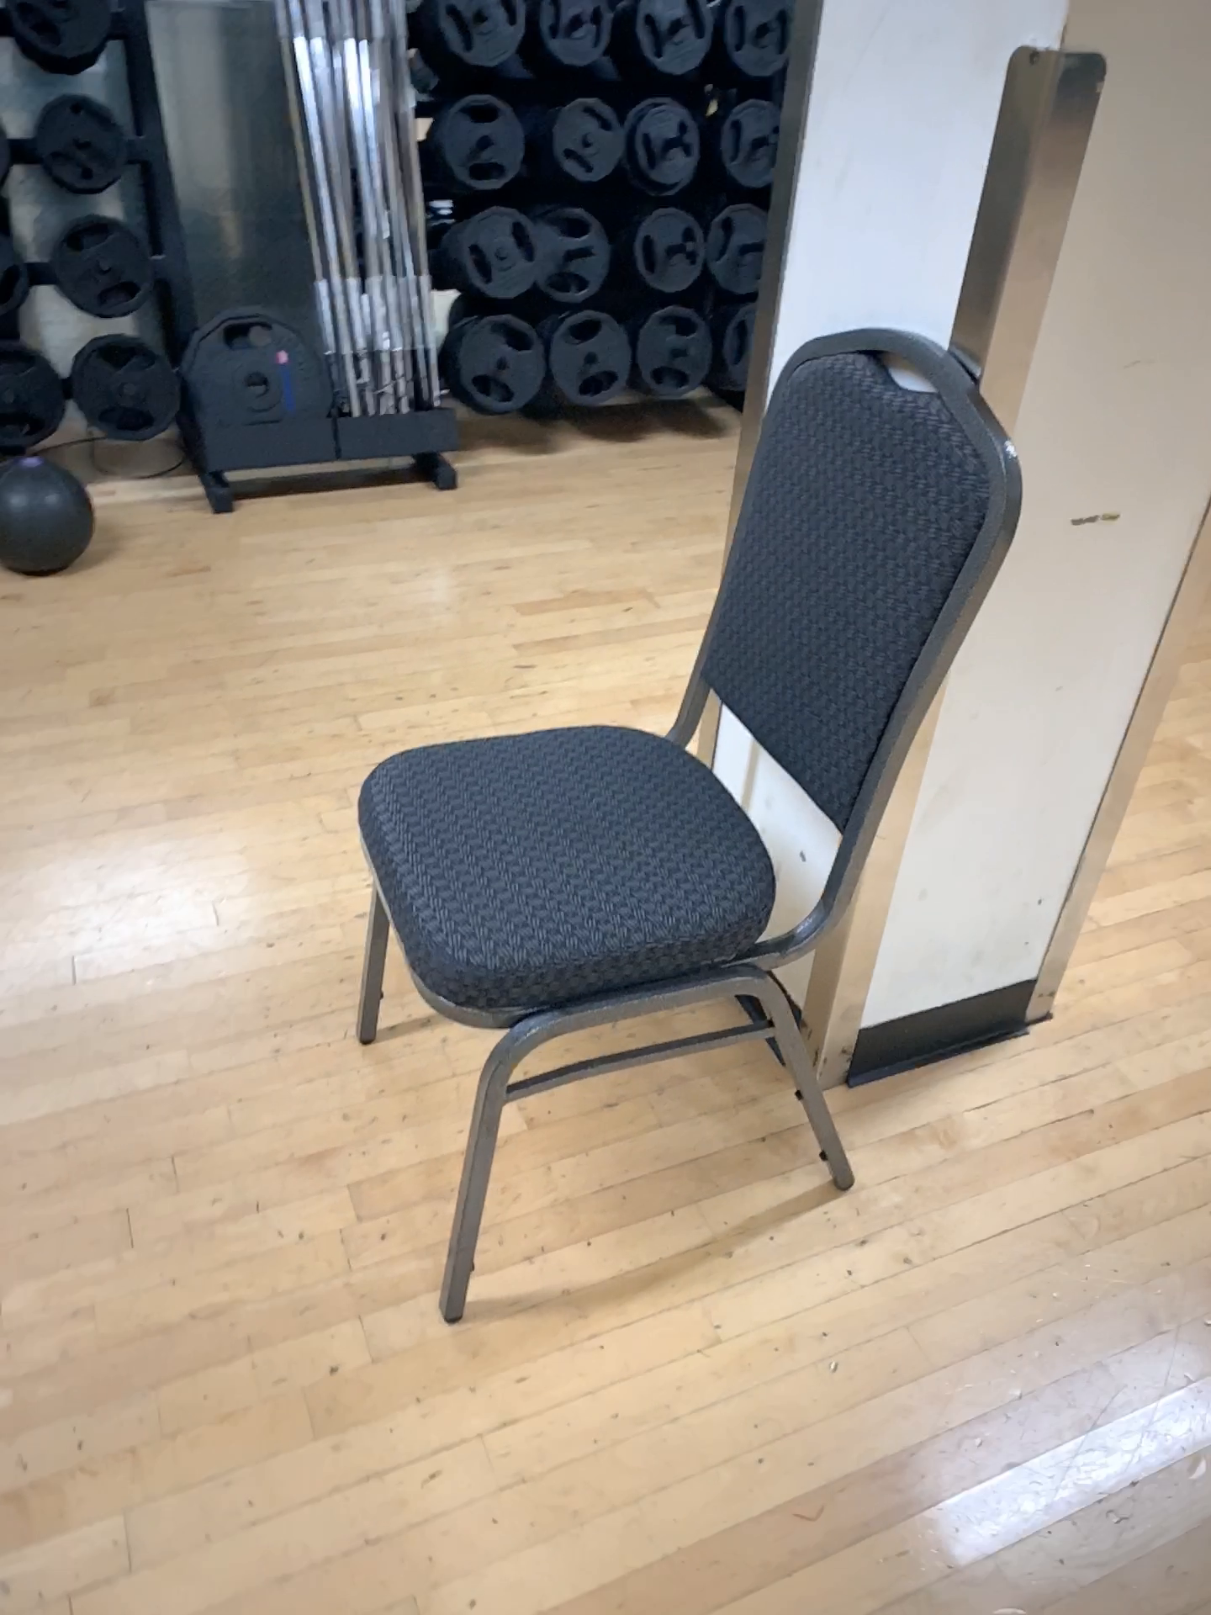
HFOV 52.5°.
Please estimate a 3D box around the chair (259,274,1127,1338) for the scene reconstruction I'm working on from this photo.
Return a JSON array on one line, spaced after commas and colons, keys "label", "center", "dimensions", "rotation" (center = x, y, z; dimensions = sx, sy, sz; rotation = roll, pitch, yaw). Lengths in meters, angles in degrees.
[{"label": "chair", "center": [0.015, -0.002, 1.263], "dimensions": [0.565, 0.908, 0.466], "rotation": [-10, 38, -20]}]
